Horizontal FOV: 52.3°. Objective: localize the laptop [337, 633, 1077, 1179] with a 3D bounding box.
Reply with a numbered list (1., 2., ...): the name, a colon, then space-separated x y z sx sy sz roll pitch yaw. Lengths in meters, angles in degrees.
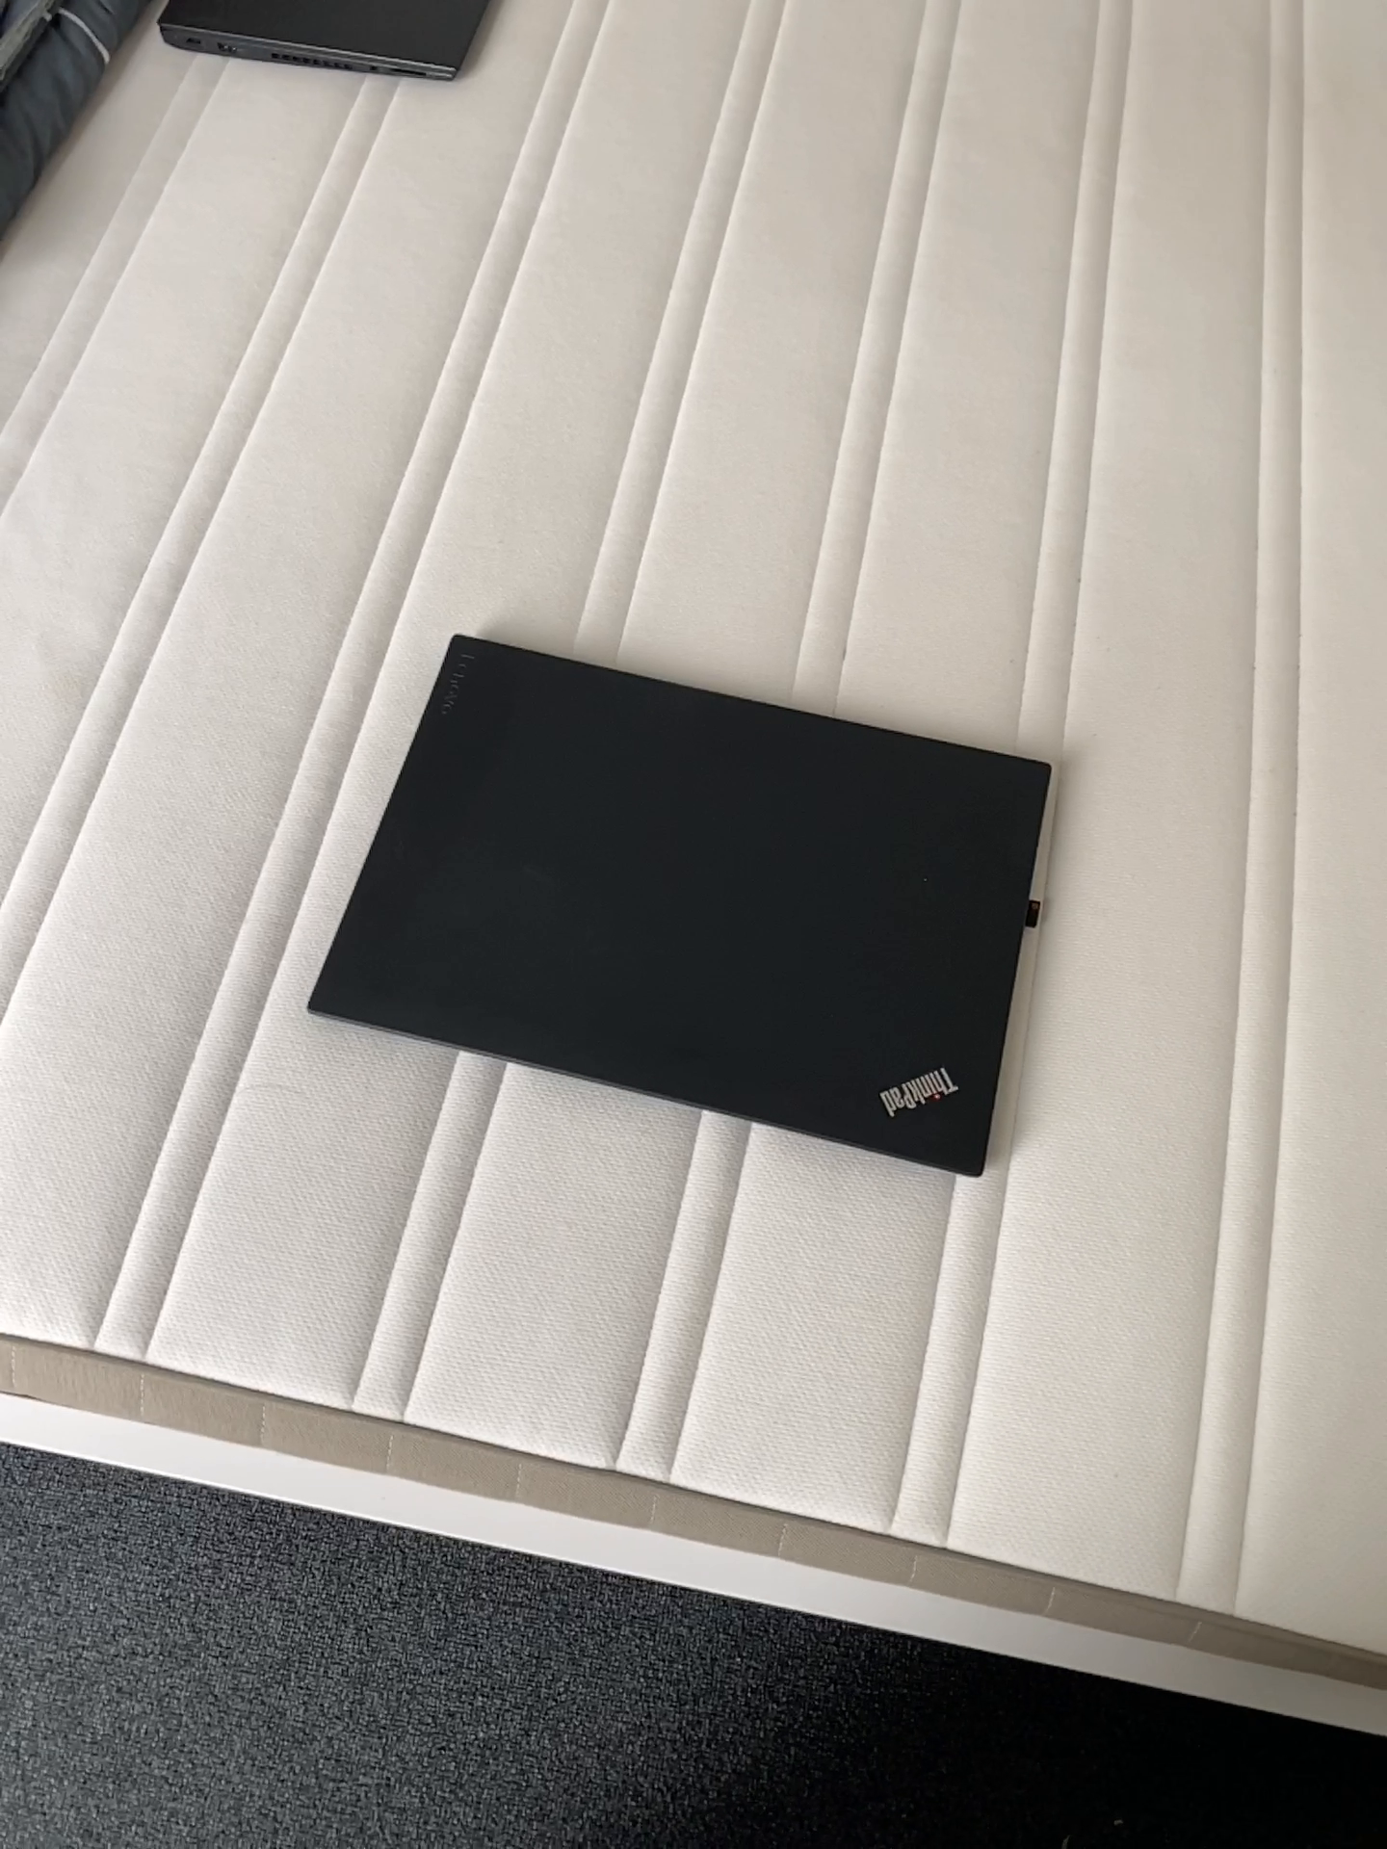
1. laptop: 0.012 -0.017 0.627 0.288 0.005 0.193 14 69 4
